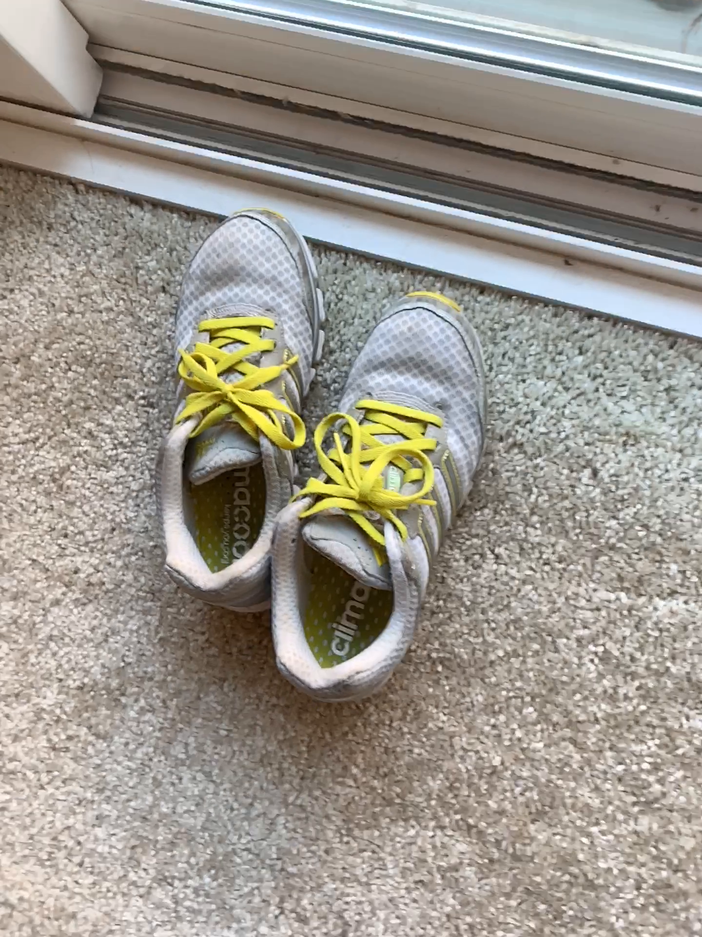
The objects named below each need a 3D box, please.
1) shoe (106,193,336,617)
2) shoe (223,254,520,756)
[{"bbox_3d":[-0.068,-0.032,0.437,0.090,0.100,0.230,4,78,4],"label":"shoe"},{"bbox_3d":[0.015,0.019,0.414,0.090,0.100,0.240,15,80,4],"label":"shoe"}]
